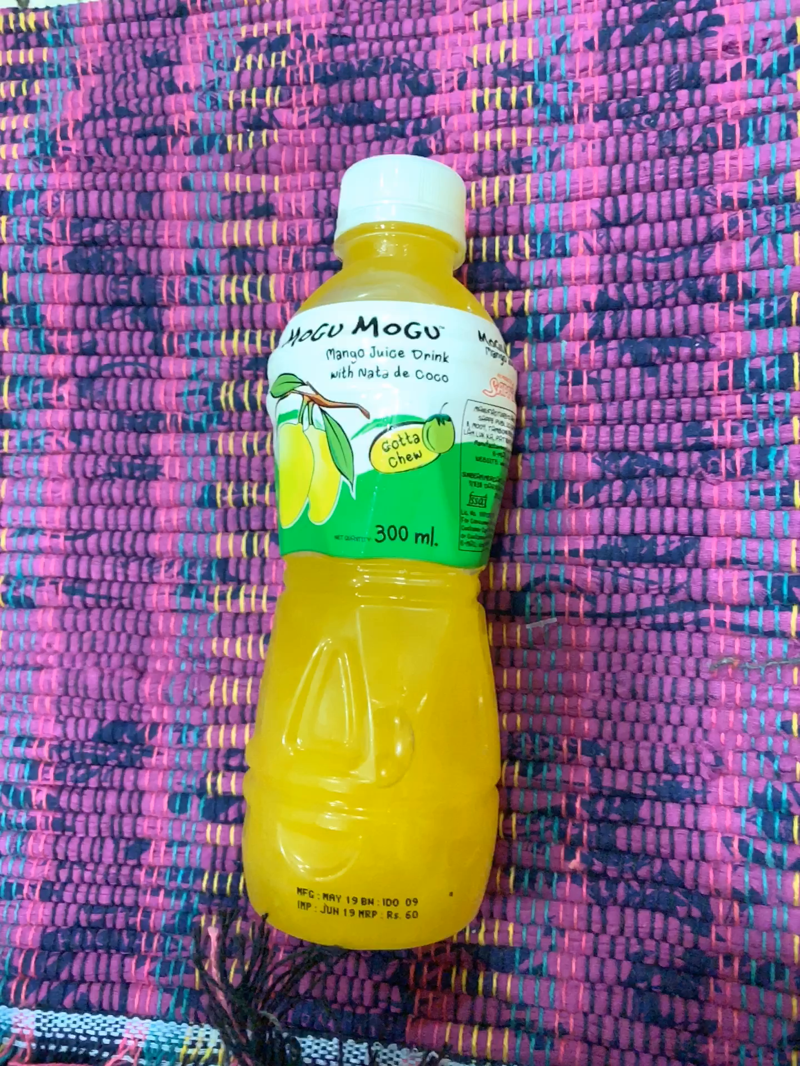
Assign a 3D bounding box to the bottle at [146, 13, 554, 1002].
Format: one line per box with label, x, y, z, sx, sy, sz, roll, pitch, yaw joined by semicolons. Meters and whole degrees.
bottle;-0.003;-0.006;0.168;0.060;0.060;0.160;2;85;9
